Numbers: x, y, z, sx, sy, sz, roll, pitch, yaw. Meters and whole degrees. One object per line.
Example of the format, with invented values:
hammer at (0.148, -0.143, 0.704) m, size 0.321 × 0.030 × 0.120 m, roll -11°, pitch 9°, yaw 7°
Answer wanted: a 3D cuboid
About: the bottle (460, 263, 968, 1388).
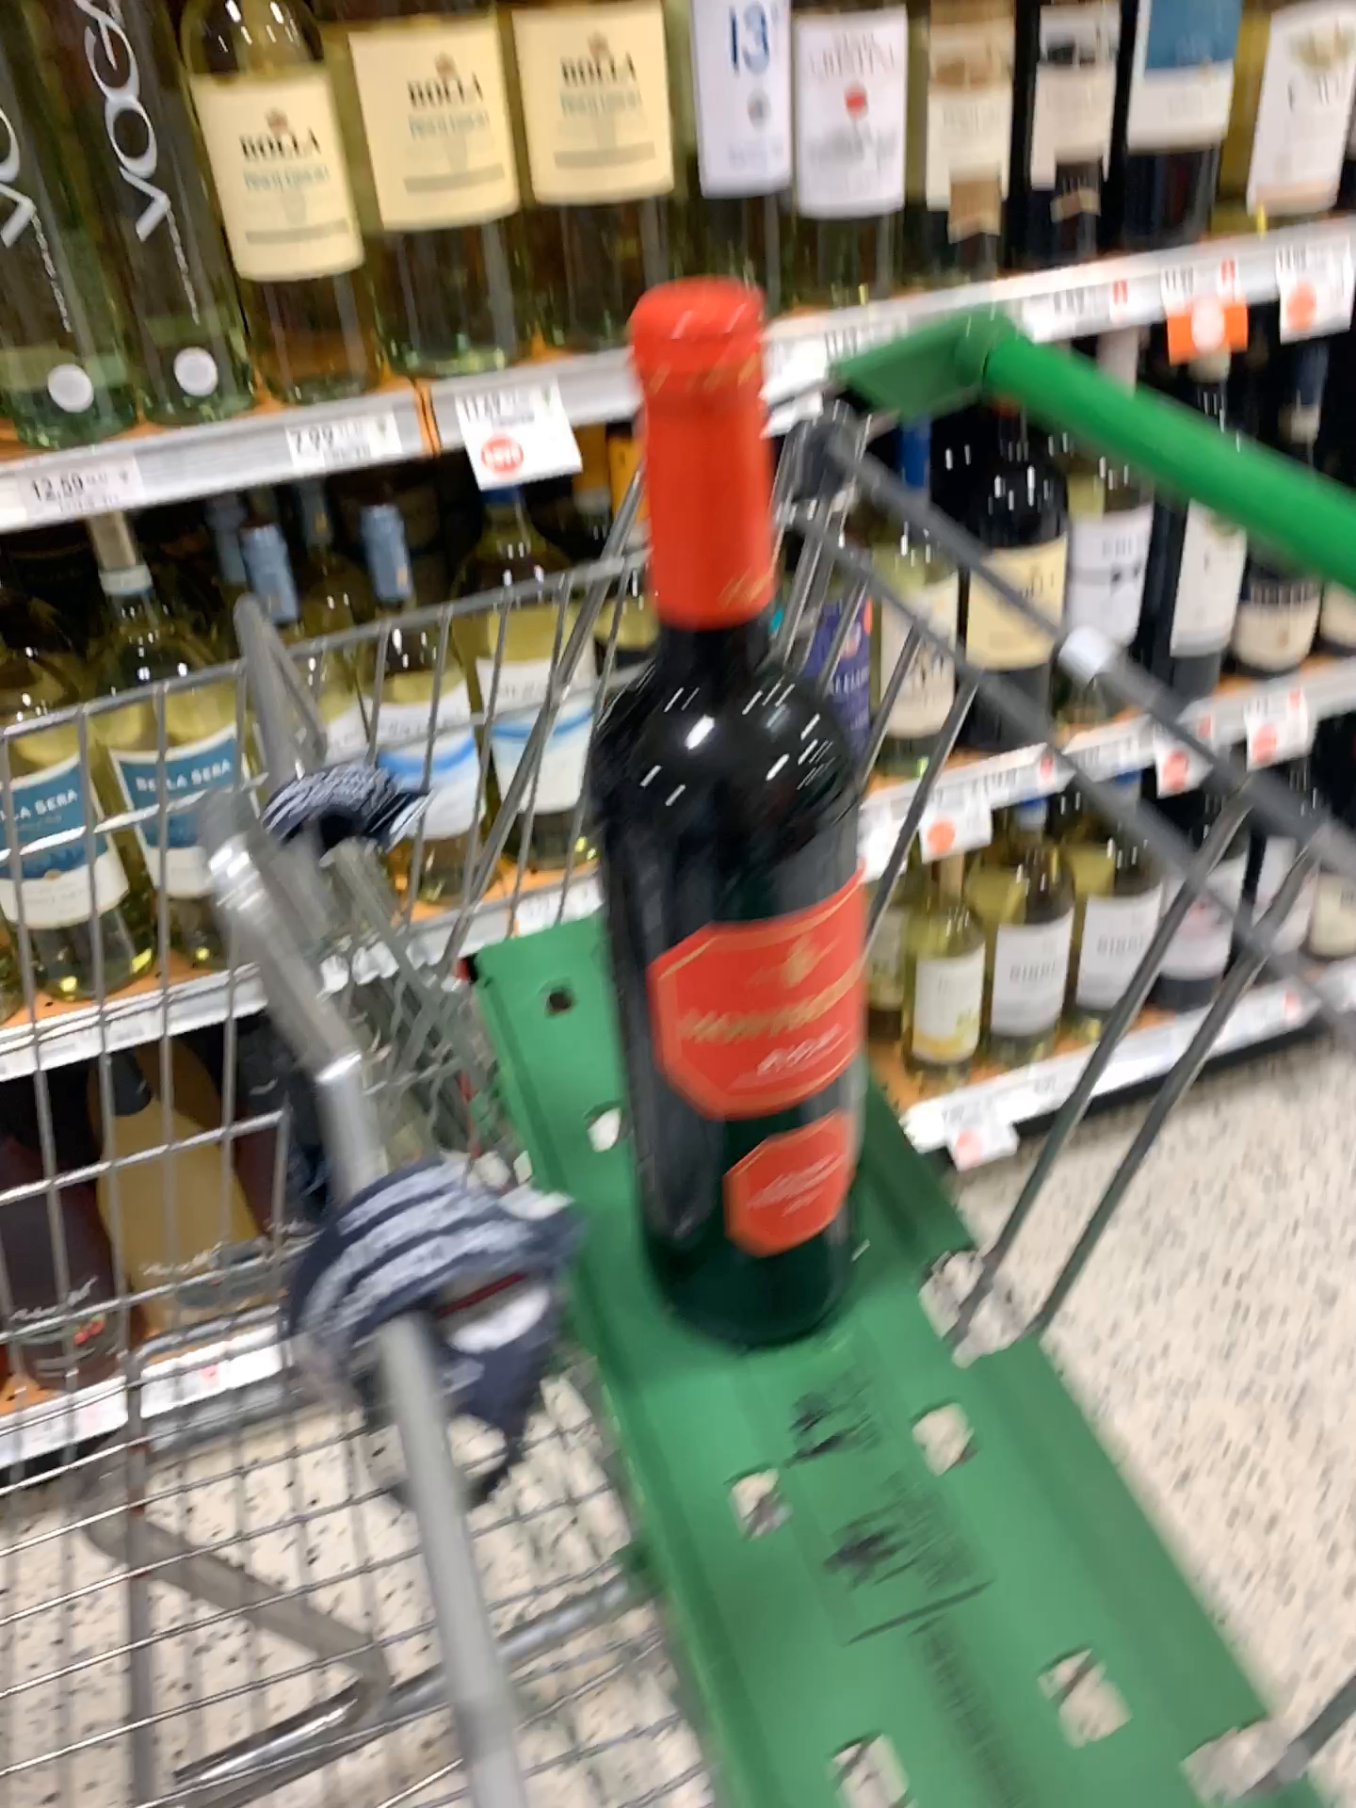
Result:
bottle at (0.013, -0.003, 0.384) m, size 0.080 × 0.297 × 0.081 m, roll -3°, pitch 37°, yaw 2°
